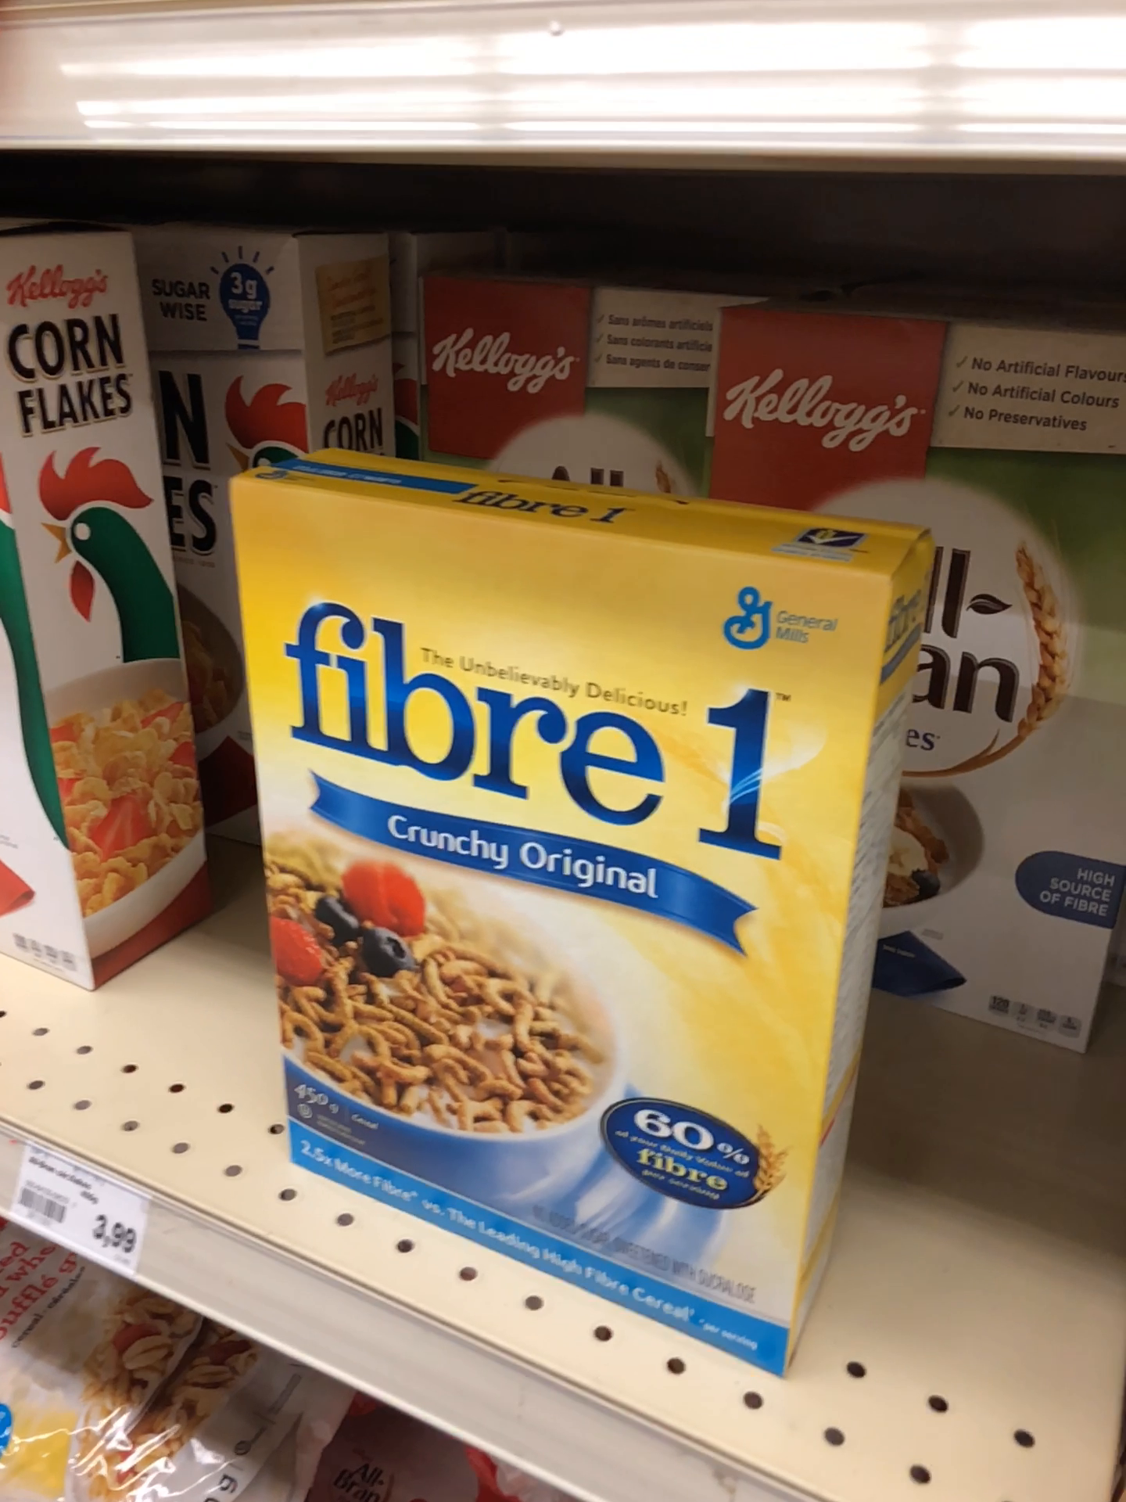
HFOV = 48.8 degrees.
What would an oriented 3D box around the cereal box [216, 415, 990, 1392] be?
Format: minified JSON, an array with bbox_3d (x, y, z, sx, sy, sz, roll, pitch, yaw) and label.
[{"bbox_3d":[0.003,0.044,0.400,0.210,0.268,0.060,13,27,25],"label":"cereal box"}]
